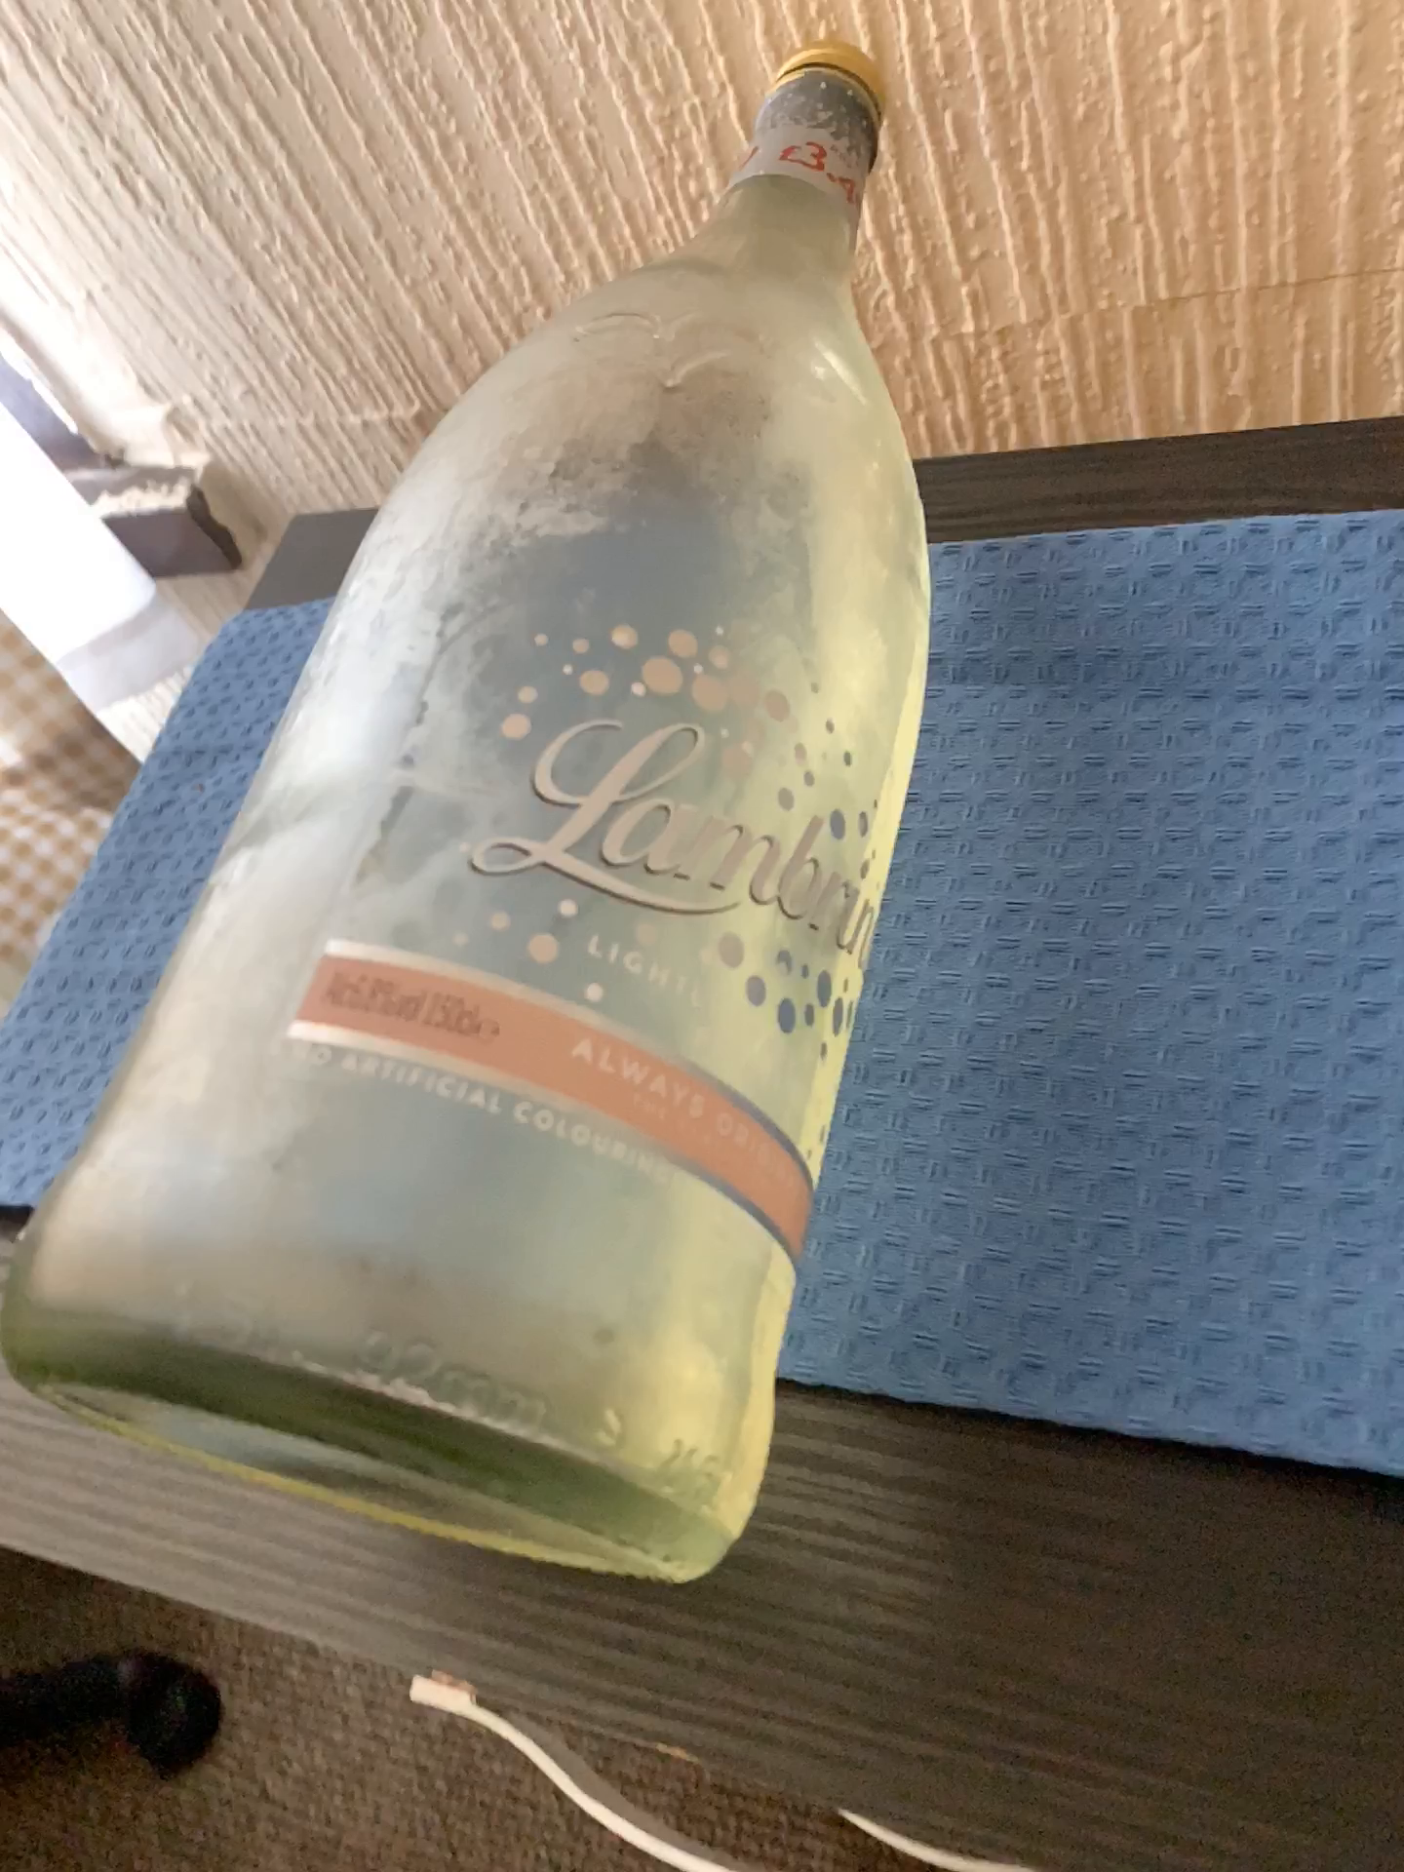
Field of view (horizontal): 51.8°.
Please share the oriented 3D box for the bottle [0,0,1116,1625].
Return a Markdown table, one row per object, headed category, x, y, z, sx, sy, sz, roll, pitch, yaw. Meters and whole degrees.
| category | x | y | z | sx | sy | sz | roll | pitch | yaw |
| --- | --- | --- | --- | --- | --- | --- | --- | --- | --- |
| bottle | -0.013 | -0.063 | 0.275 | 0.110 | 0.119 | 0.322 | -12 | 52 | 40 |
